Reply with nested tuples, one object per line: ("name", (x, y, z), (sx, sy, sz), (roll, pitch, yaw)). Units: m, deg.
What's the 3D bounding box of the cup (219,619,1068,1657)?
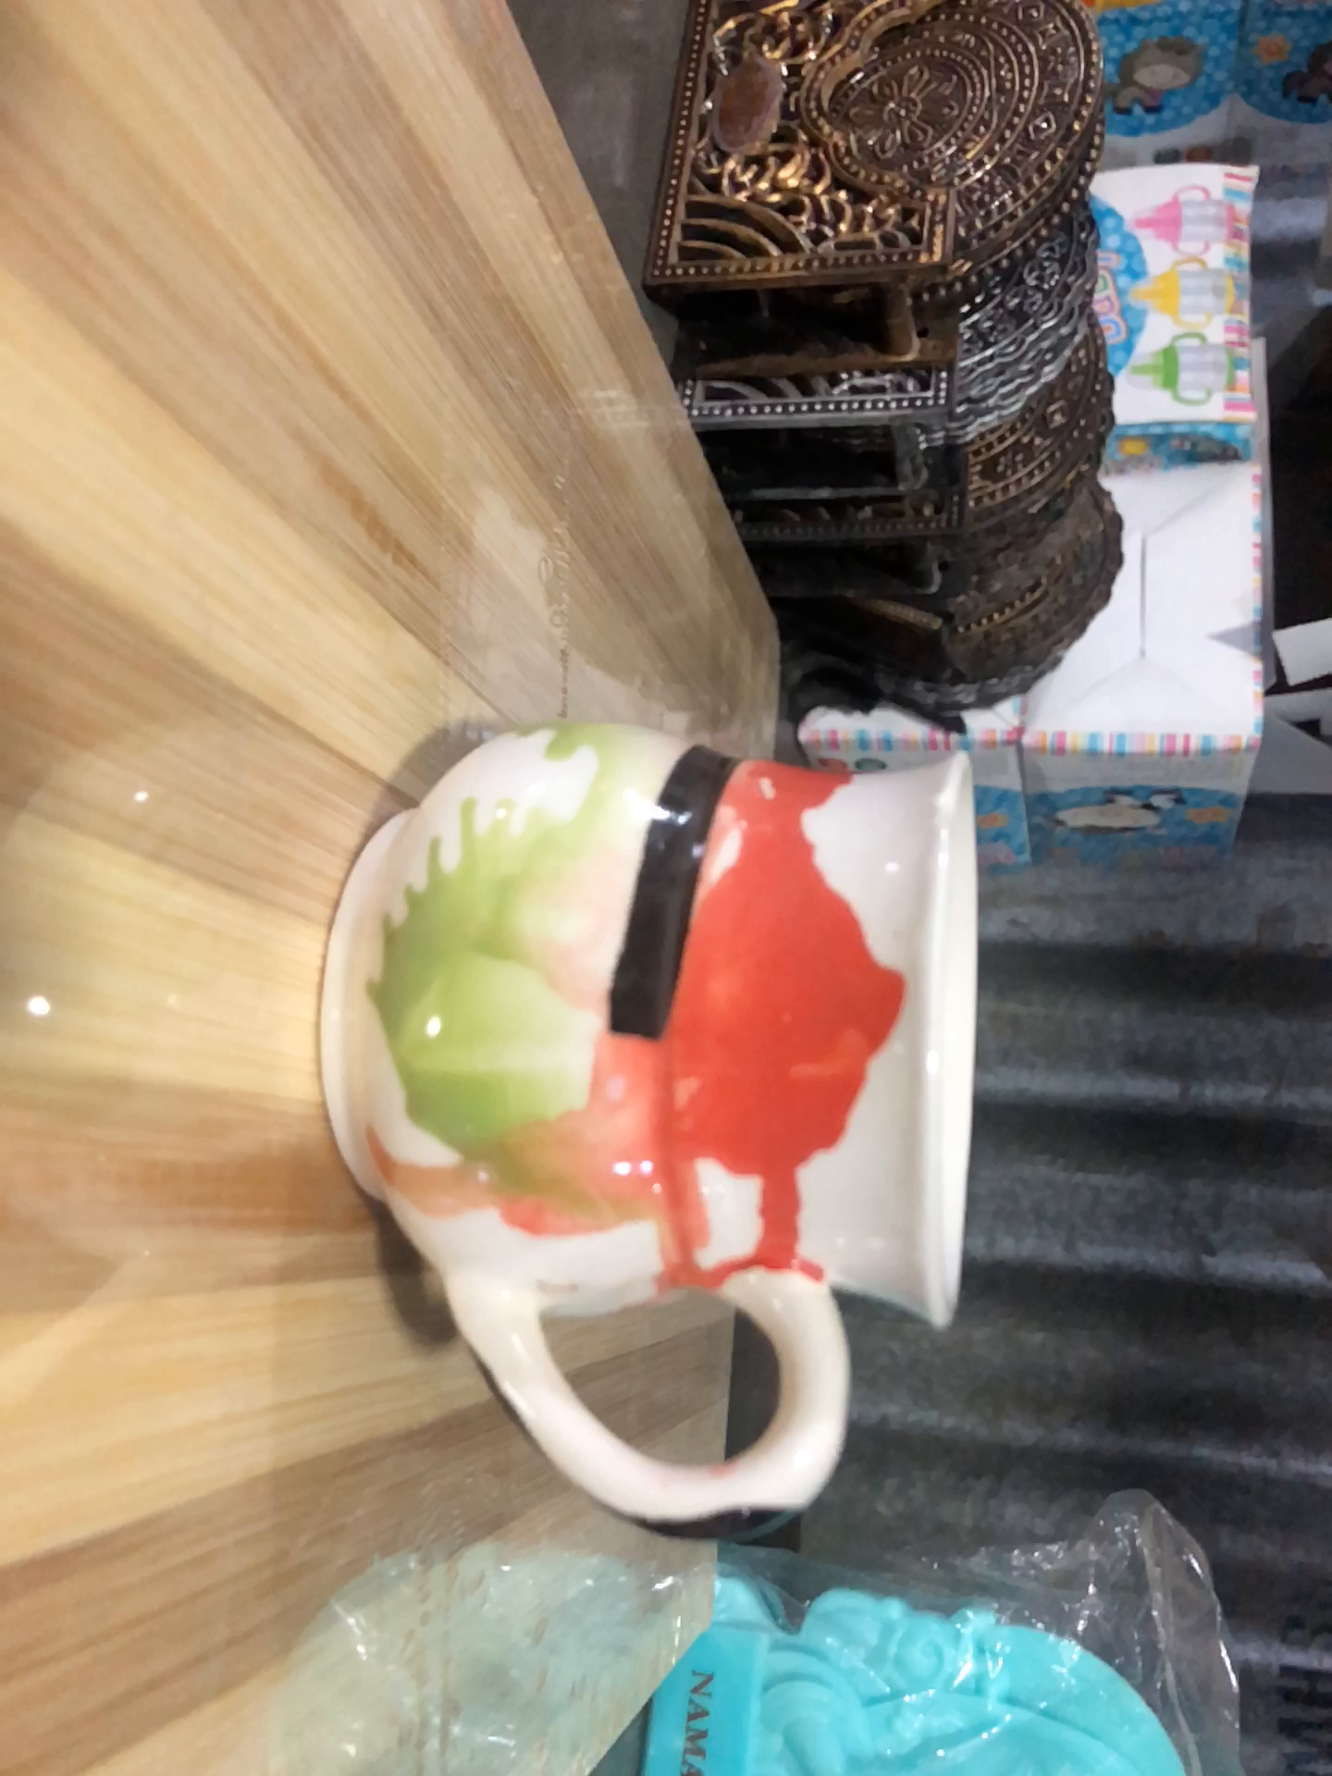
("cup", (0.006, 0.025, 0.165), (0.060, 0.070, 0.090), (58, 37, -69))
